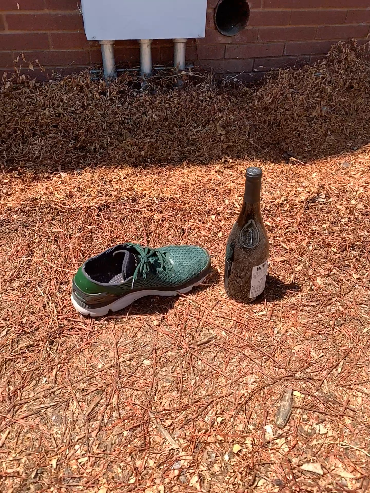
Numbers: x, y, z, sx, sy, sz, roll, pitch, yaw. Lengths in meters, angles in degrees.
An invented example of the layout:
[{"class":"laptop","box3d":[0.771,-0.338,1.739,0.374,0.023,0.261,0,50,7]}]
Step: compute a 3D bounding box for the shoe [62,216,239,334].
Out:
[{"class":"shoe","box3d":[-0.067,0.047,0.772,0.320,0.099,0.131,-15,44,-20]}]
